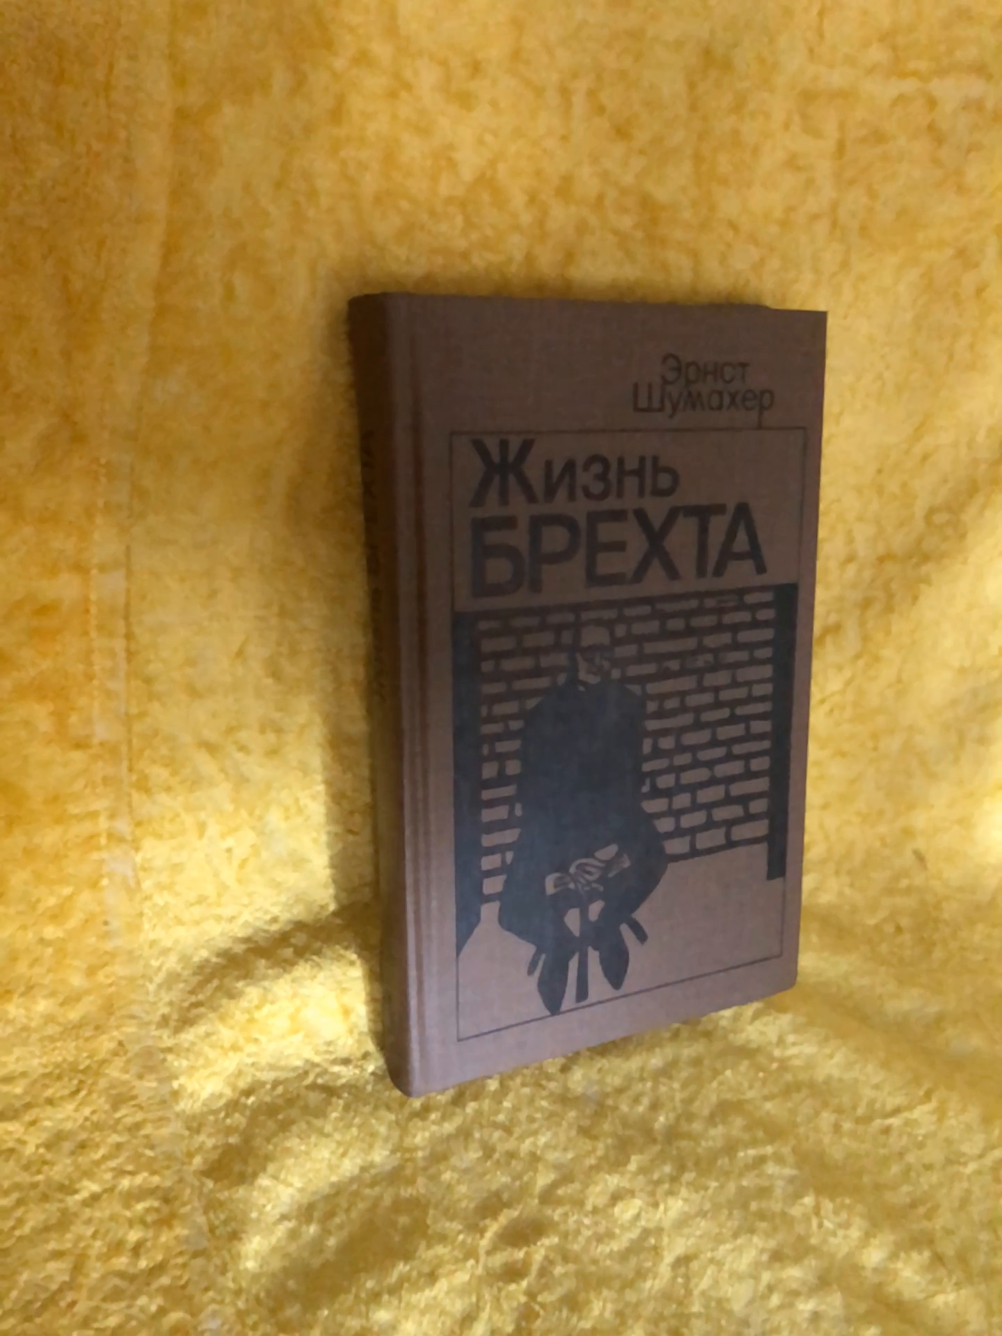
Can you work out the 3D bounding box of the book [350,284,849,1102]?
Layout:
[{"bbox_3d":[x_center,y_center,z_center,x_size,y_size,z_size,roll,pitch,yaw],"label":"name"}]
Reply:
[{"bbox_3d":[0.028,0.004,0.307,0.130,0.200,0.033,-6,13,-26],"label":"book"}]
